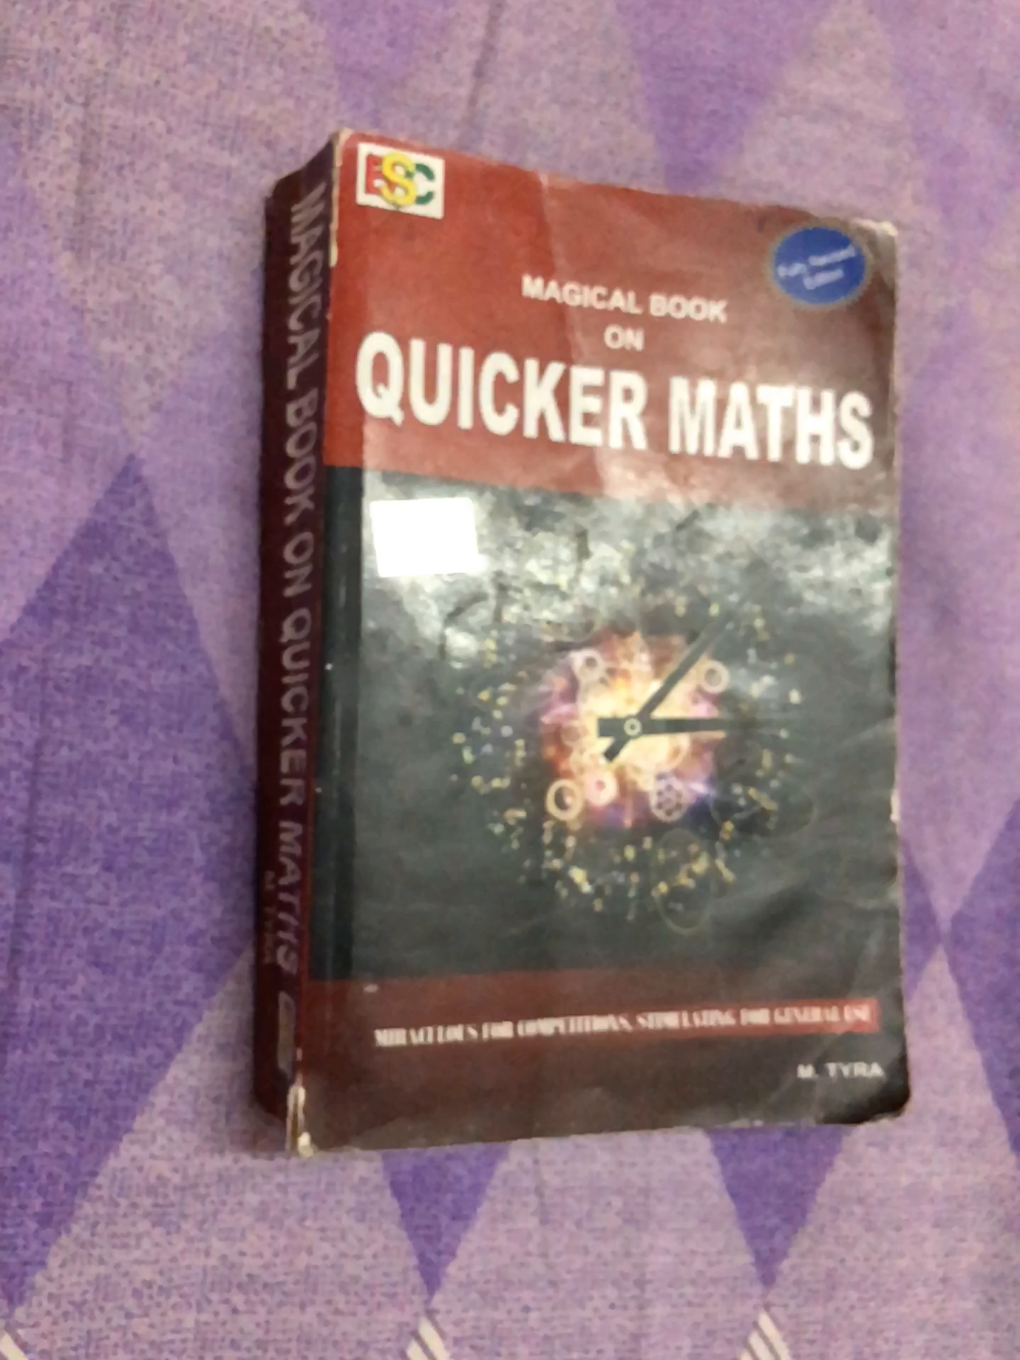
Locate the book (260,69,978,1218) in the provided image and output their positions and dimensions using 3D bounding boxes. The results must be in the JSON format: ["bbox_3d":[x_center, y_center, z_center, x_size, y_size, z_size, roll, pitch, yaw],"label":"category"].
[{"bbox_3d":[0.024,-0.007,0.265,0.150,0.050,0.220,2,84,-17],"label":"book"}]
